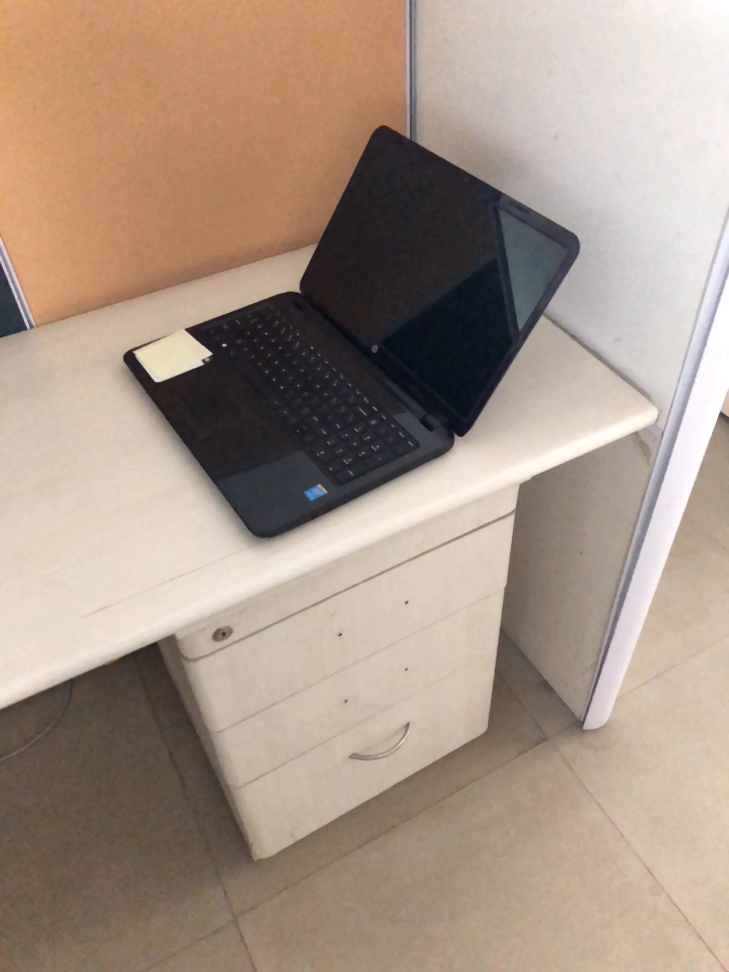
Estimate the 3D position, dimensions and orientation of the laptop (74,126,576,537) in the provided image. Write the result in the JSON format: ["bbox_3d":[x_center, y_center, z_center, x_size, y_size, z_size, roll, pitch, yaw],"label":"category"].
[{"bbox_3d":[-0.053,-0.217,0.957,0.417,0.204,0.392,-26,49,-21],"label":"laptop"}]
